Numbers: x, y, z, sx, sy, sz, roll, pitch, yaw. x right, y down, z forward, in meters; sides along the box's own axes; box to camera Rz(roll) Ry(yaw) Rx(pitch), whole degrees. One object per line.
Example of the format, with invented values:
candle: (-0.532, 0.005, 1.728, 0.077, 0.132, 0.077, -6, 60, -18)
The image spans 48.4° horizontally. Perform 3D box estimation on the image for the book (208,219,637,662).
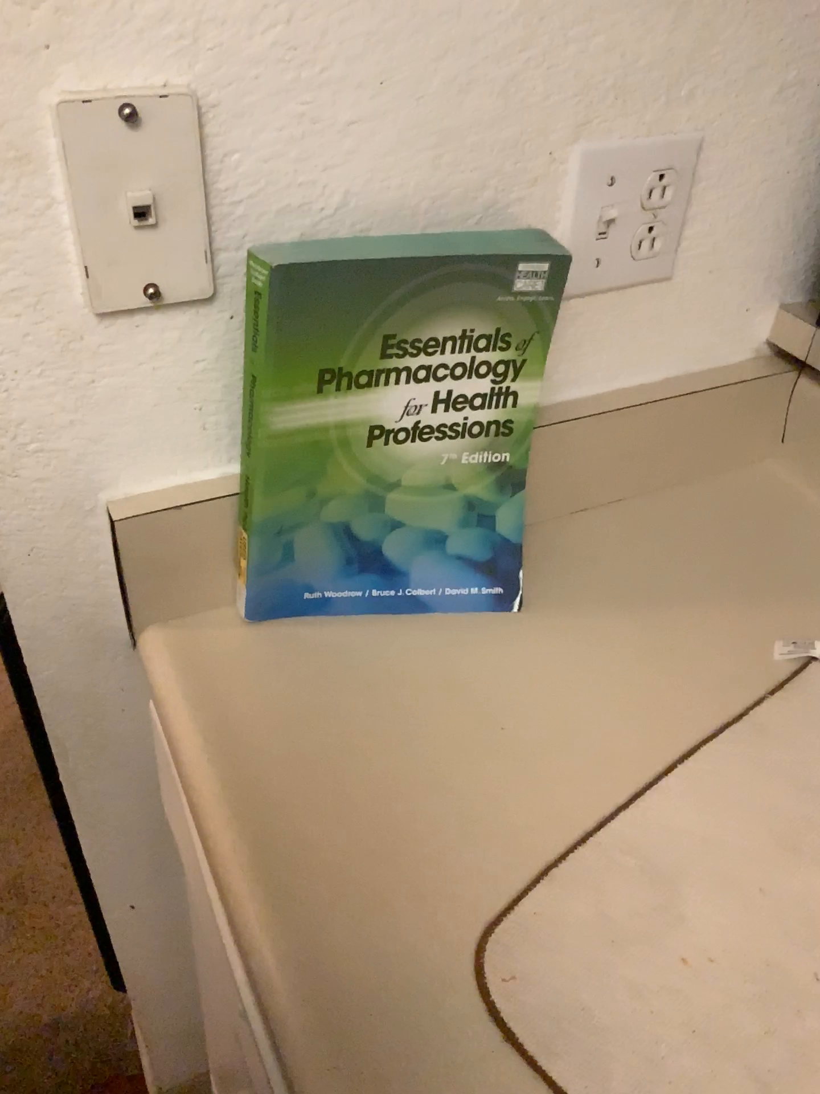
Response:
book: (-0.004, -0.070, 0.625, 0.240, 0.270, 0.090, -9, 40, -19)
